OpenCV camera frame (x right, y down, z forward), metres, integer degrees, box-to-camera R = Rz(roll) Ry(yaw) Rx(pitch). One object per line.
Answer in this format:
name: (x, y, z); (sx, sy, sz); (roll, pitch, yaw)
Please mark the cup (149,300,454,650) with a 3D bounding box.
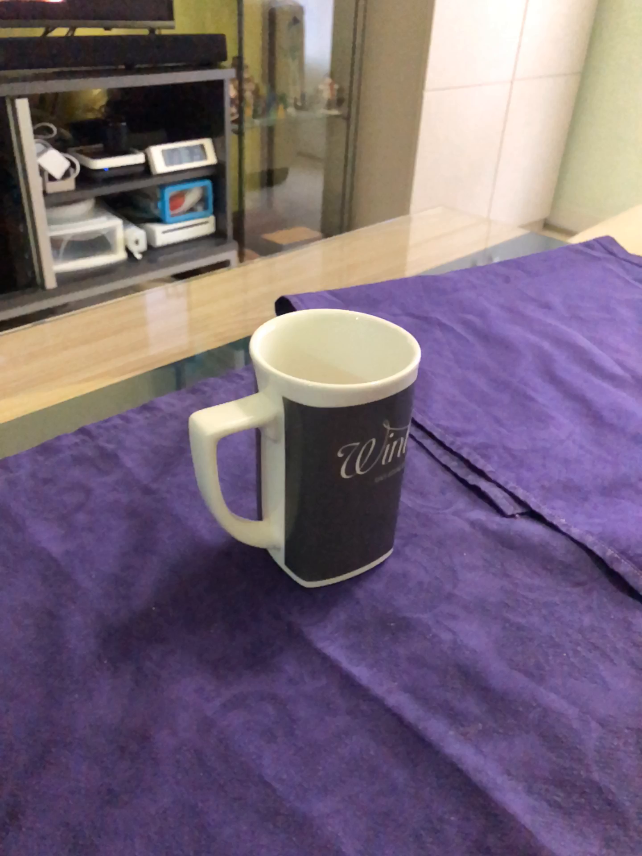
cup: (-0.010, 0.016, 0.316); (0.100, 0.109, 0.070); (-17, 38, -28)
